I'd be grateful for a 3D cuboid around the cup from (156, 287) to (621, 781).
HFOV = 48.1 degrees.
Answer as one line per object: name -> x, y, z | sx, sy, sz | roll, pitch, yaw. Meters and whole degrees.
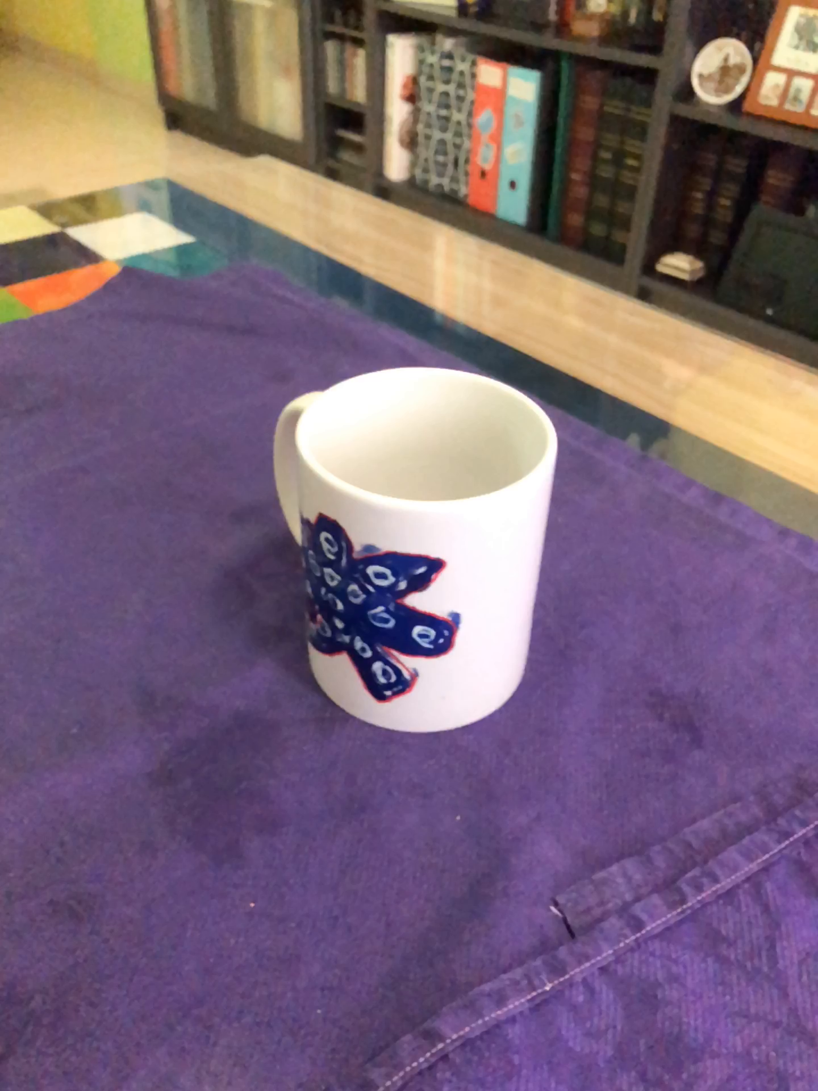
cup -> -0.013, -0.013, 0.305 | 0.080, 0.090, 0.130 | -24, 44, -29
